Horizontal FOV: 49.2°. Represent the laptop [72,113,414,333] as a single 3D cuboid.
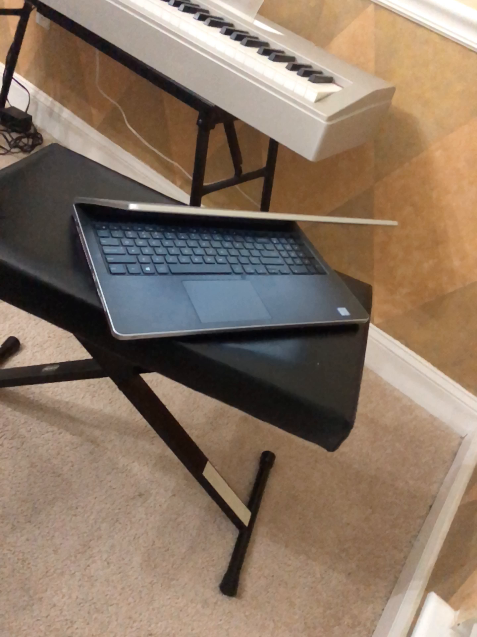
[{"bbox_3d":[-0.002,-0.131,0.718,0.376,0.132,0.257,-4,47,-29],"label":"laptop"}]
